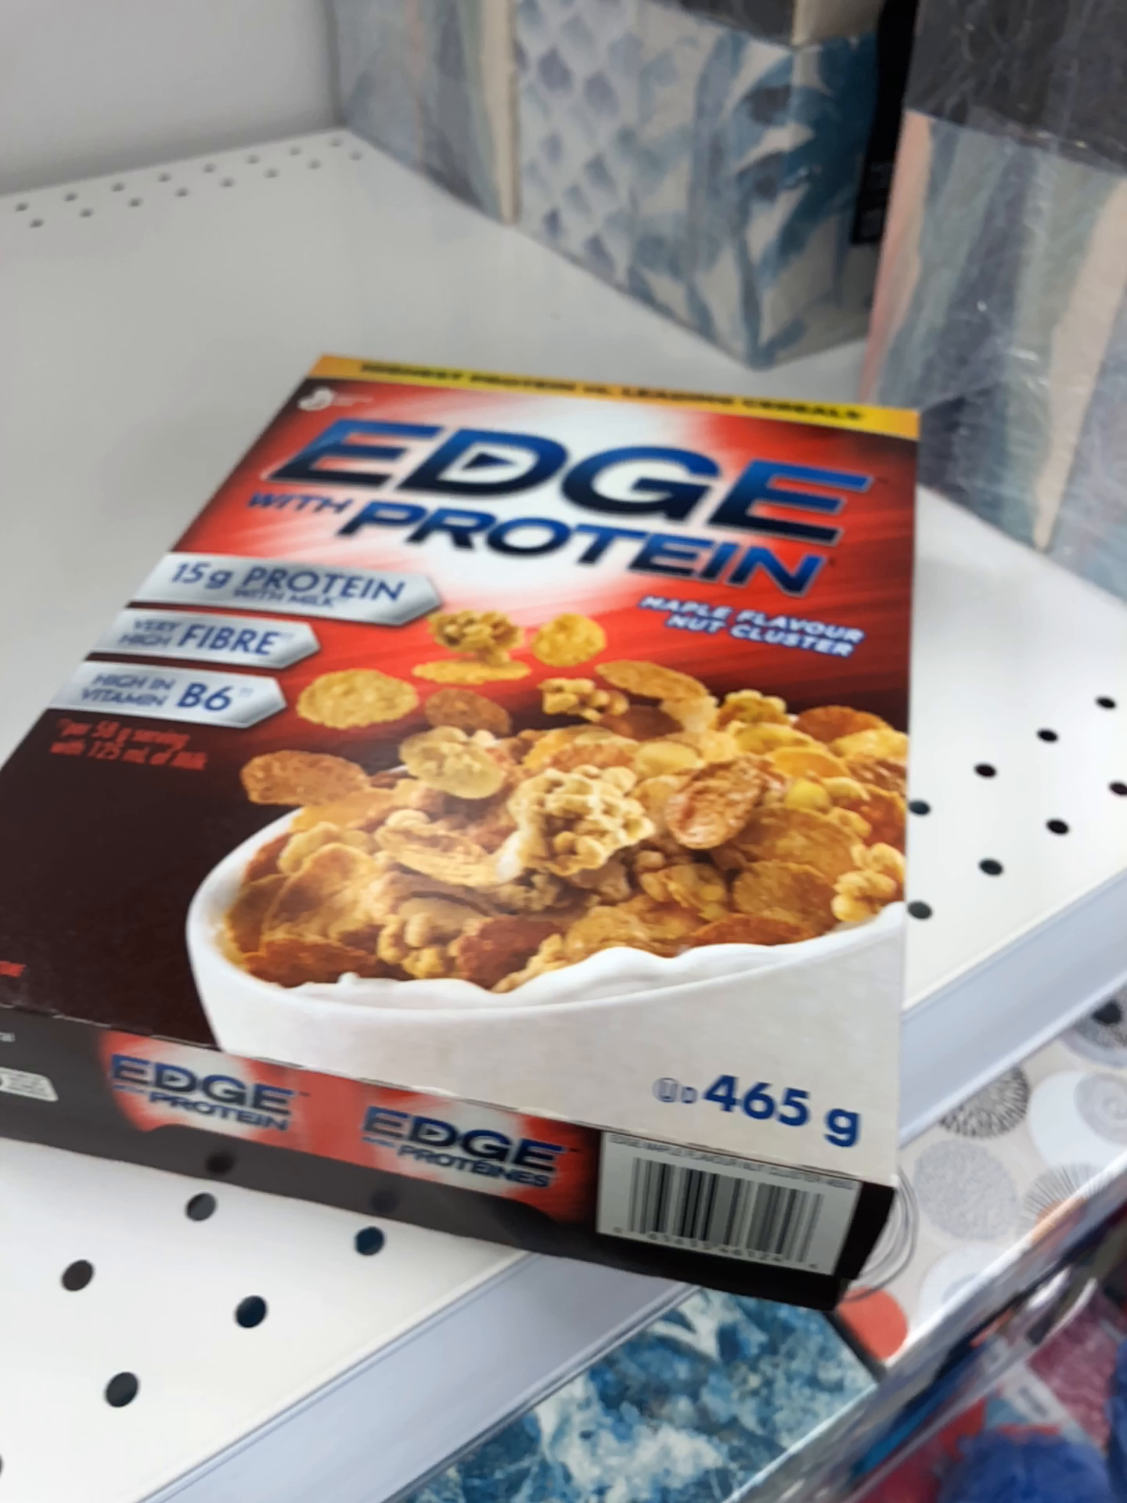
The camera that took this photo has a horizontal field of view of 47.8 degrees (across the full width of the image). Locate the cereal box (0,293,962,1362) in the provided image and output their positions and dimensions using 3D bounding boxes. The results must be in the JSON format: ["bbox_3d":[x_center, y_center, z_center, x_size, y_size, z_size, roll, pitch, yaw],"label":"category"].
[{"bbox_3d":[-0.023,-0.022,0.310,0.220,0.050,0.271,8,44,9],"label":"cereal box"}]
